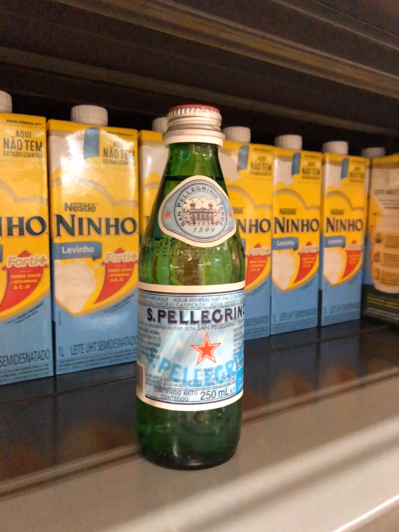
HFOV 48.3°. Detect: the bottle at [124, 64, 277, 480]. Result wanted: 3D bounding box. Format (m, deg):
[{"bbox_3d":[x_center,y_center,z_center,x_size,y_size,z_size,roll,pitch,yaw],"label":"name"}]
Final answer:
[{"bbox_3d":[-0.004,0.002,0.228,0.060,0.180,0.060,1,6,0],"label":"bottle"}]
